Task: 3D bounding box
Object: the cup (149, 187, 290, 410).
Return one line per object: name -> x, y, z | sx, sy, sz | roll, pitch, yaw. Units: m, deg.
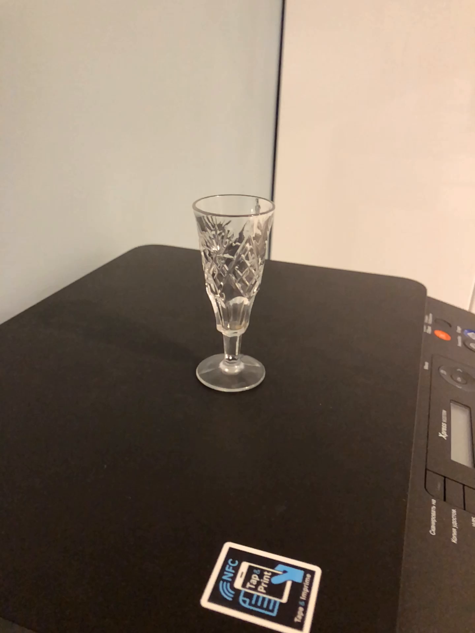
cup -> -0.012, -0.013, 0.310 | 0.057, 0.109, 0.054 | 2, 25, -1
